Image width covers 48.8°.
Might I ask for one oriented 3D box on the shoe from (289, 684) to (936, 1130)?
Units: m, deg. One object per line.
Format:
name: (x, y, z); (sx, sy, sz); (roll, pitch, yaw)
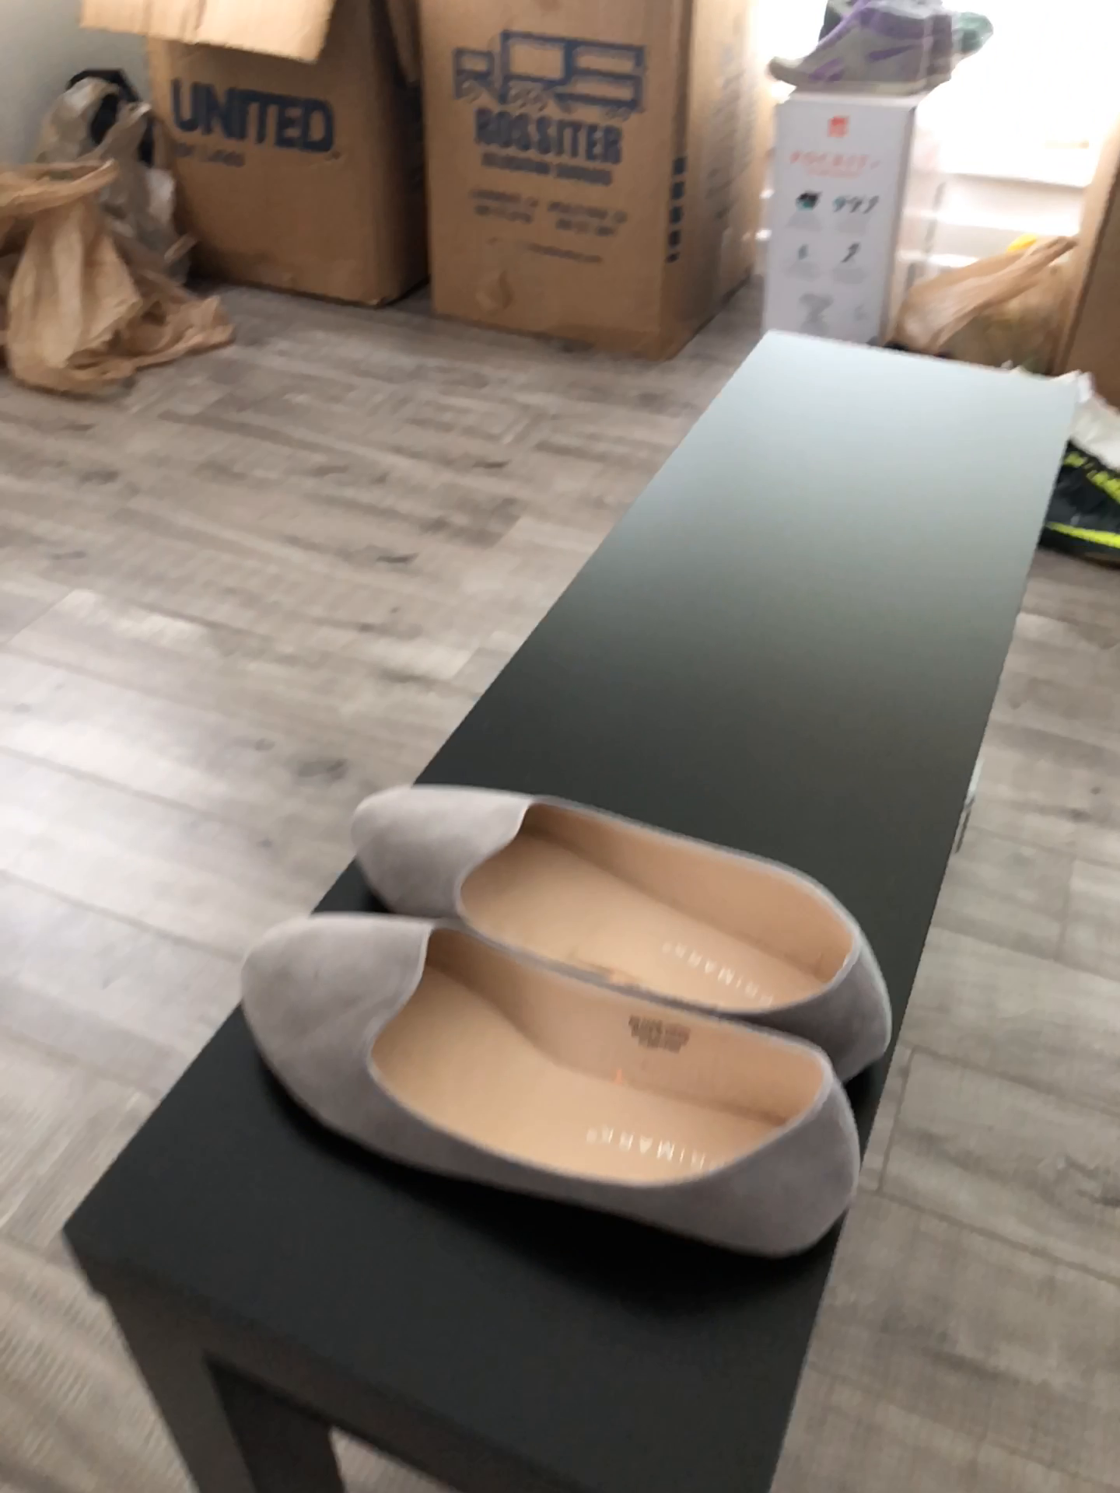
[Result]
shoe: (0.020, 0.059, 0.533); (0.250, 0.060, 0.100); (18, 44, 20)

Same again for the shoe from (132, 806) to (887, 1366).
shoe: (-0.021, 0.115, 0.466); (0.256, 0.060, 0.100); (18, 44, 20)
